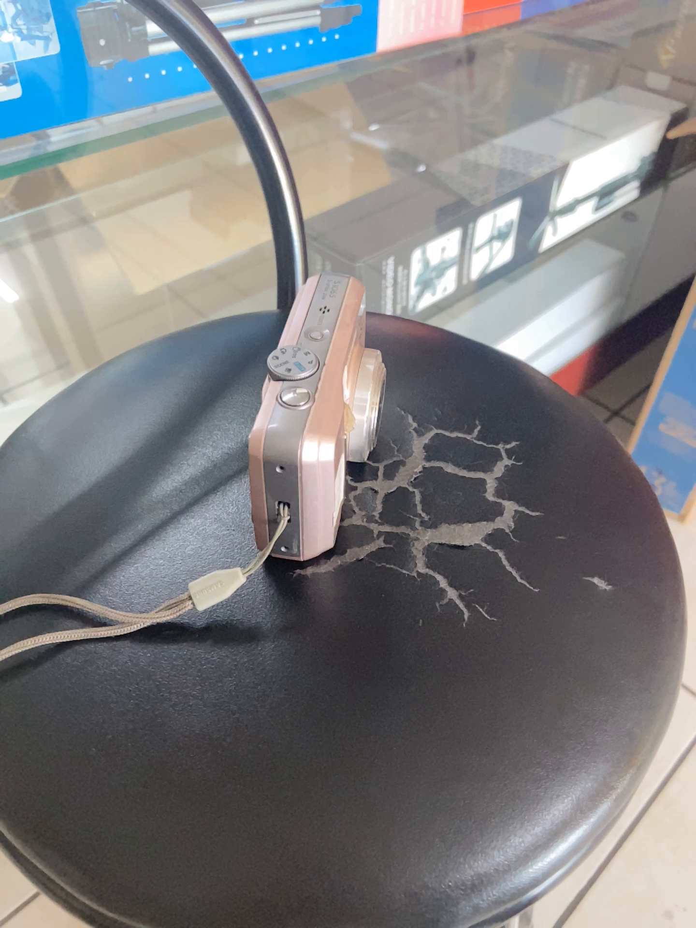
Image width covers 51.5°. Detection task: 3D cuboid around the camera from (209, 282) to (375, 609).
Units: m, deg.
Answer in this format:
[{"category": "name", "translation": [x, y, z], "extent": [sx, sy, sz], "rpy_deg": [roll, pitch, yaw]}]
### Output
[{"category": "camera", "translation": [-0.015, -0.010, 0.271], "extent": [0.040, 0.070, 0.101], "rpy_deg": [5, 46, 4]}]
